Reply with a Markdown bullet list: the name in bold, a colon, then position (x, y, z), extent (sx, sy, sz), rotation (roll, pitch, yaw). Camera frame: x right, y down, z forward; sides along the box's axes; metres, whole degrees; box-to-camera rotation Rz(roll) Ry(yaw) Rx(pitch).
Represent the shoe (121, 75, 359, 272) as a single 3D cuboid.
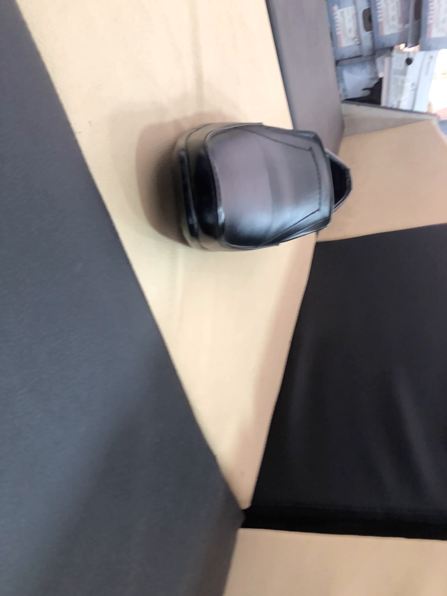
- **shoe**: position (0.043, -0.099, 0.426), extent (0.292, 0.099, 0.100), rotation (-29, 113, -65)
